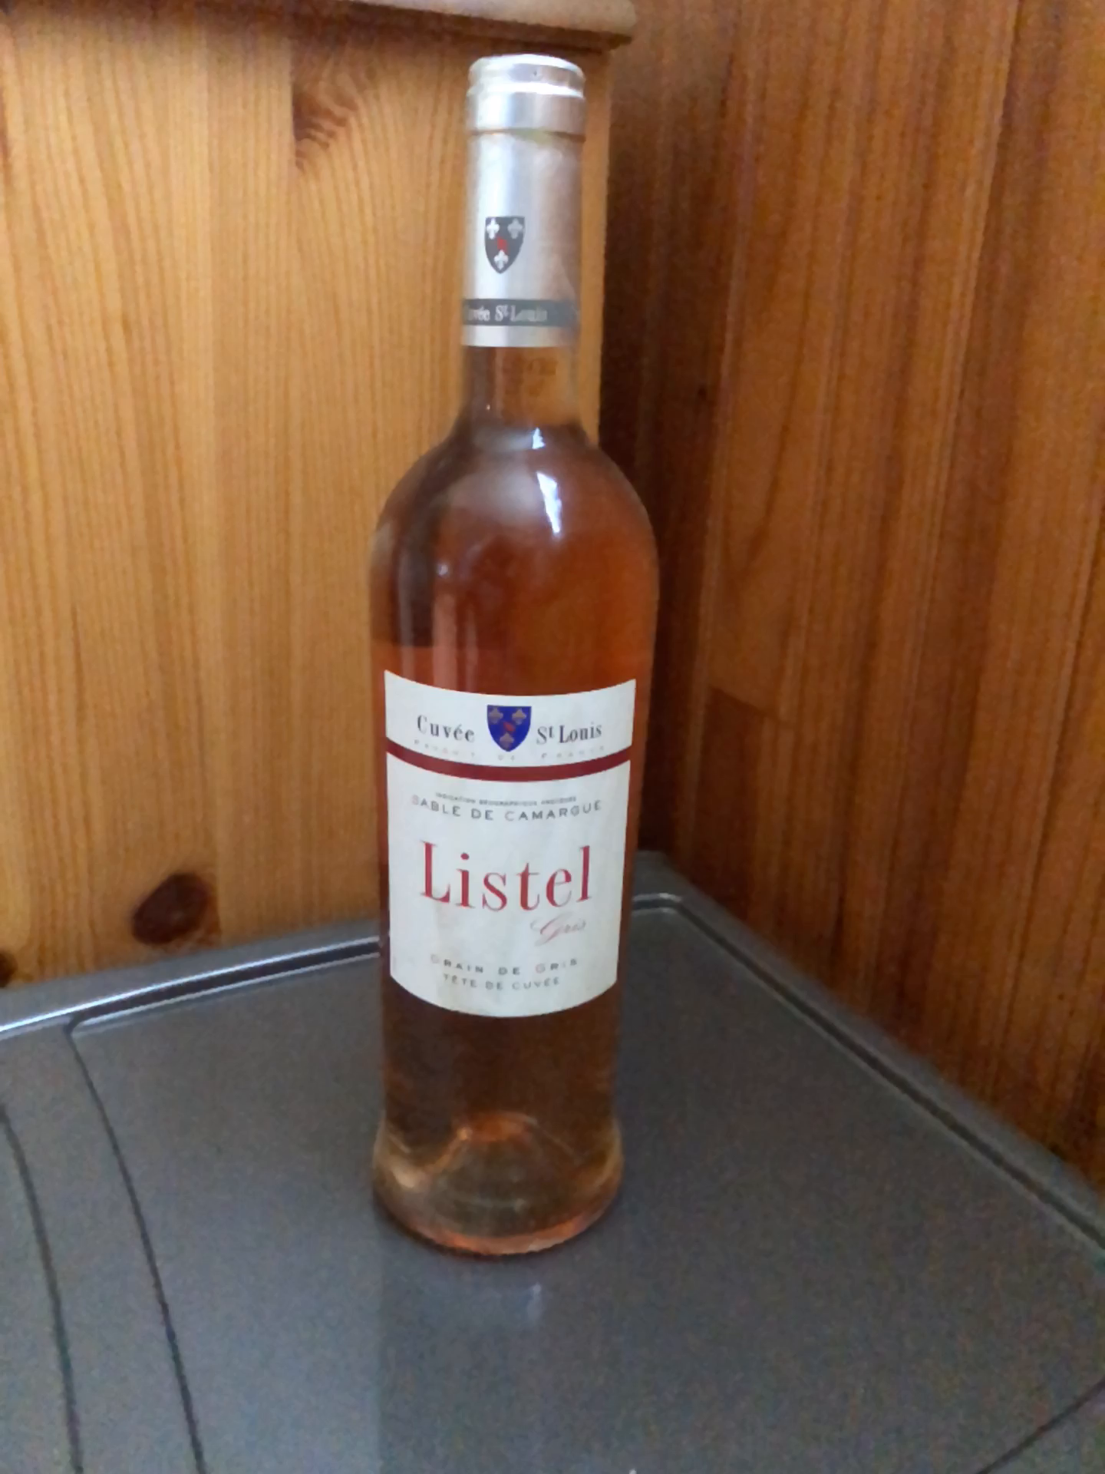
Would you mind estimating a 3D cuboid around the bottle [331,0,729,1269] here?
[{"bbox_3d":[-0.011,-0.015,0.333,0.080,0.319,0.080,2,18,-1],"label":"bottle"}]
